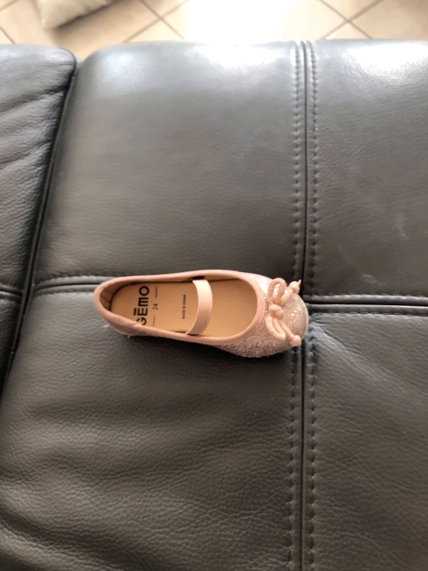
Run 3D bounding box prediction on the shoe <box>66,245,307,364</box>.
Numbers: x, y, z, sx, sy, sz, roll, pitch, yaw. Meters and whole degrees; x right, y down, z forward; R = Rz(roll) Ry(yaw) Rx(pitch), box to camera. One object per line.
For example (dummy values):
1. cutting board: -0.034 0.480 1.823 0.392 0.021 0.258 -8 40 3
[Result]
1. shoe: -0.016 0.014 0.344 0.160 0.040 0.070 2 70 6
